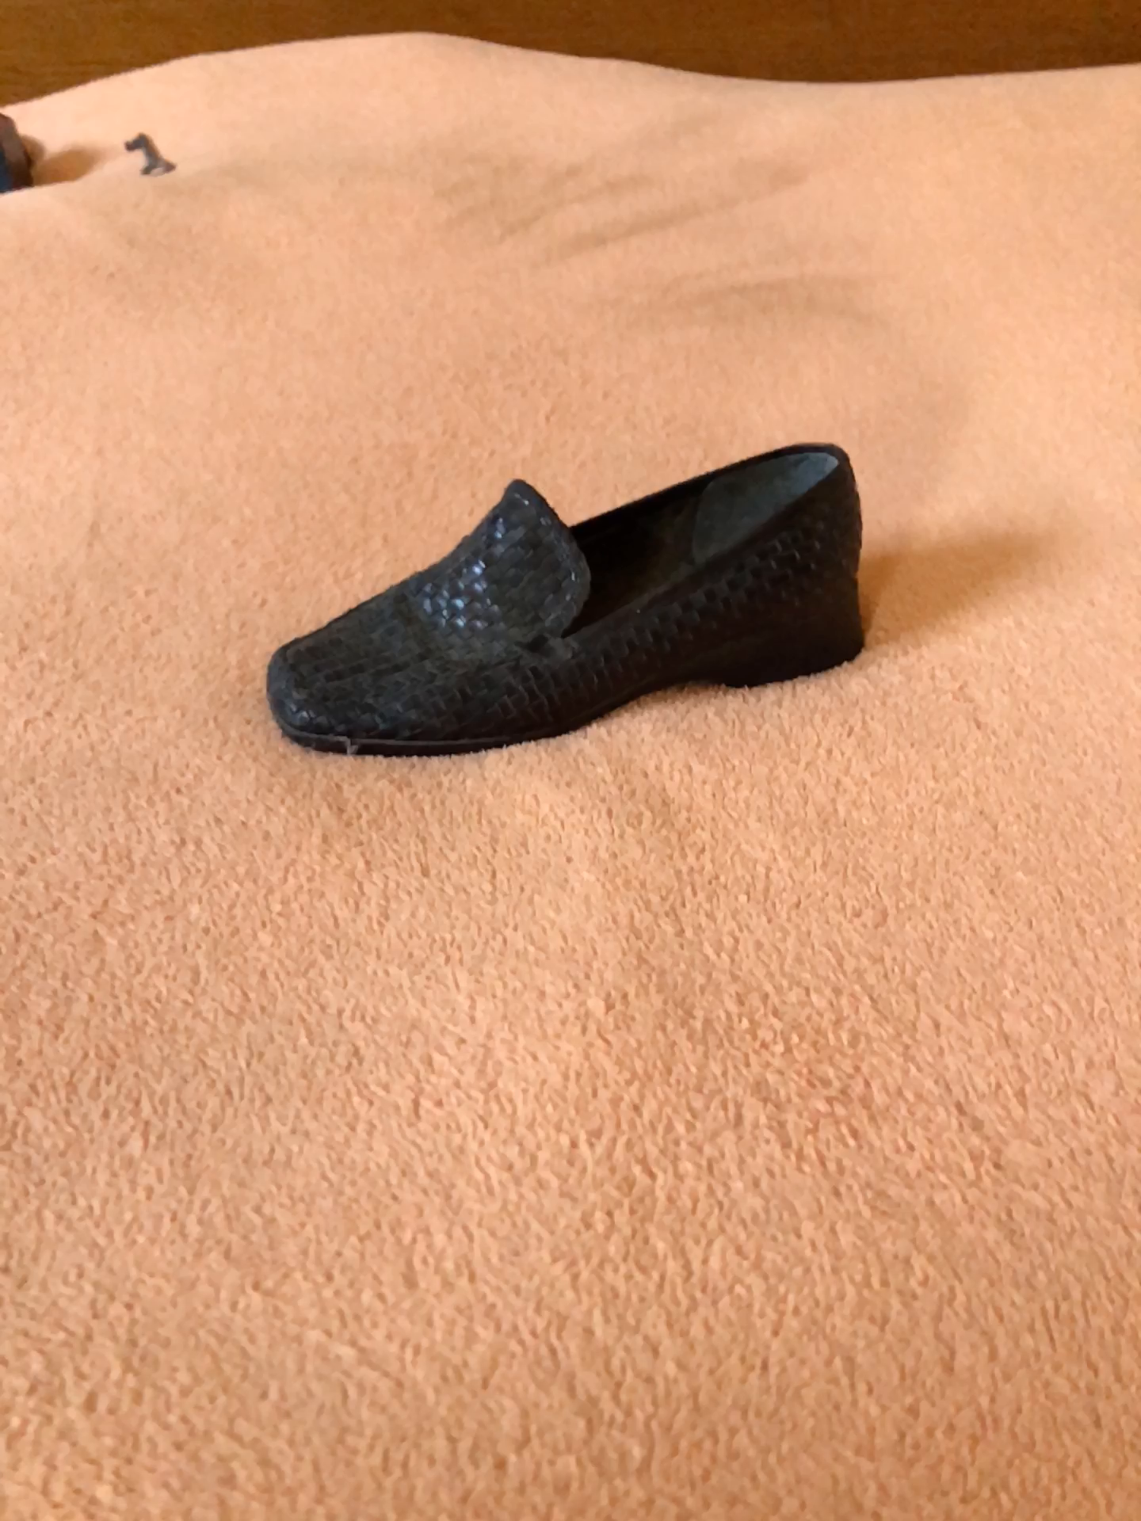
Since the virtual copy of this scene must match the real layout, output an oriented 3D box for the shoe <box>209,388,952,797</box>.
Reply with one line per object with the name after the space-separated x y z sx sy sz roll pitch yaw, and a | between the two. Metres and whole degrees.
0.003 -0.076 0.513 0.270 0.089 0.100 -12 35 -14 | shoe
